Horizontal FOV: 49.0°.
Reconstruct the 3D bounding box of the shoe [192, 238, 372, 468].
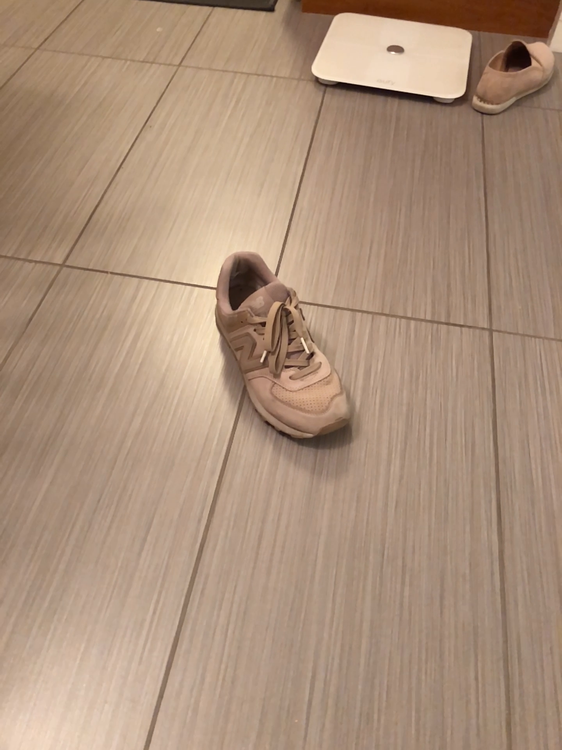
[{"bbox_3d":[-0.008,-0.037,0.747,0.100,0.090,0.271,-20,55,-16],"label":"shoe"}]
